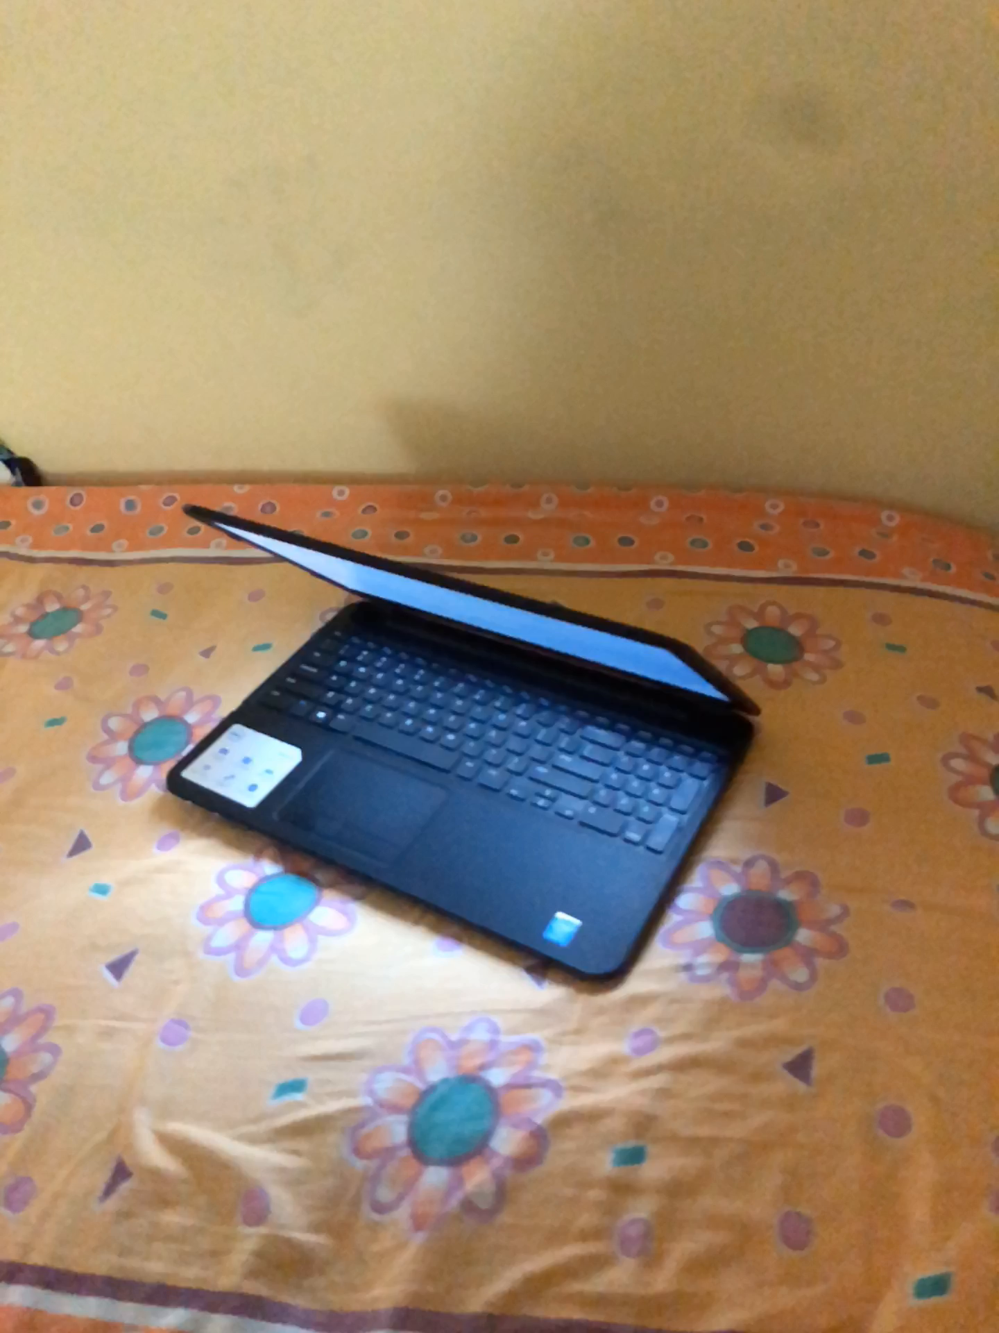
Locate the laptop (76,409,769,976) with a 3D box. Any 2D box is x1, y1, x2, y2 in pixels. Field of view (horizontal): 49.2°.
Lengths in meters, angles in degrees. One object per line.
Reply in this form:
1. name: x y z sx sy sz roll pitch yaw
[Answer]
1. laptop: -0.041 -0.006 0.744 0.367 0.190 0.238 17 46 25
